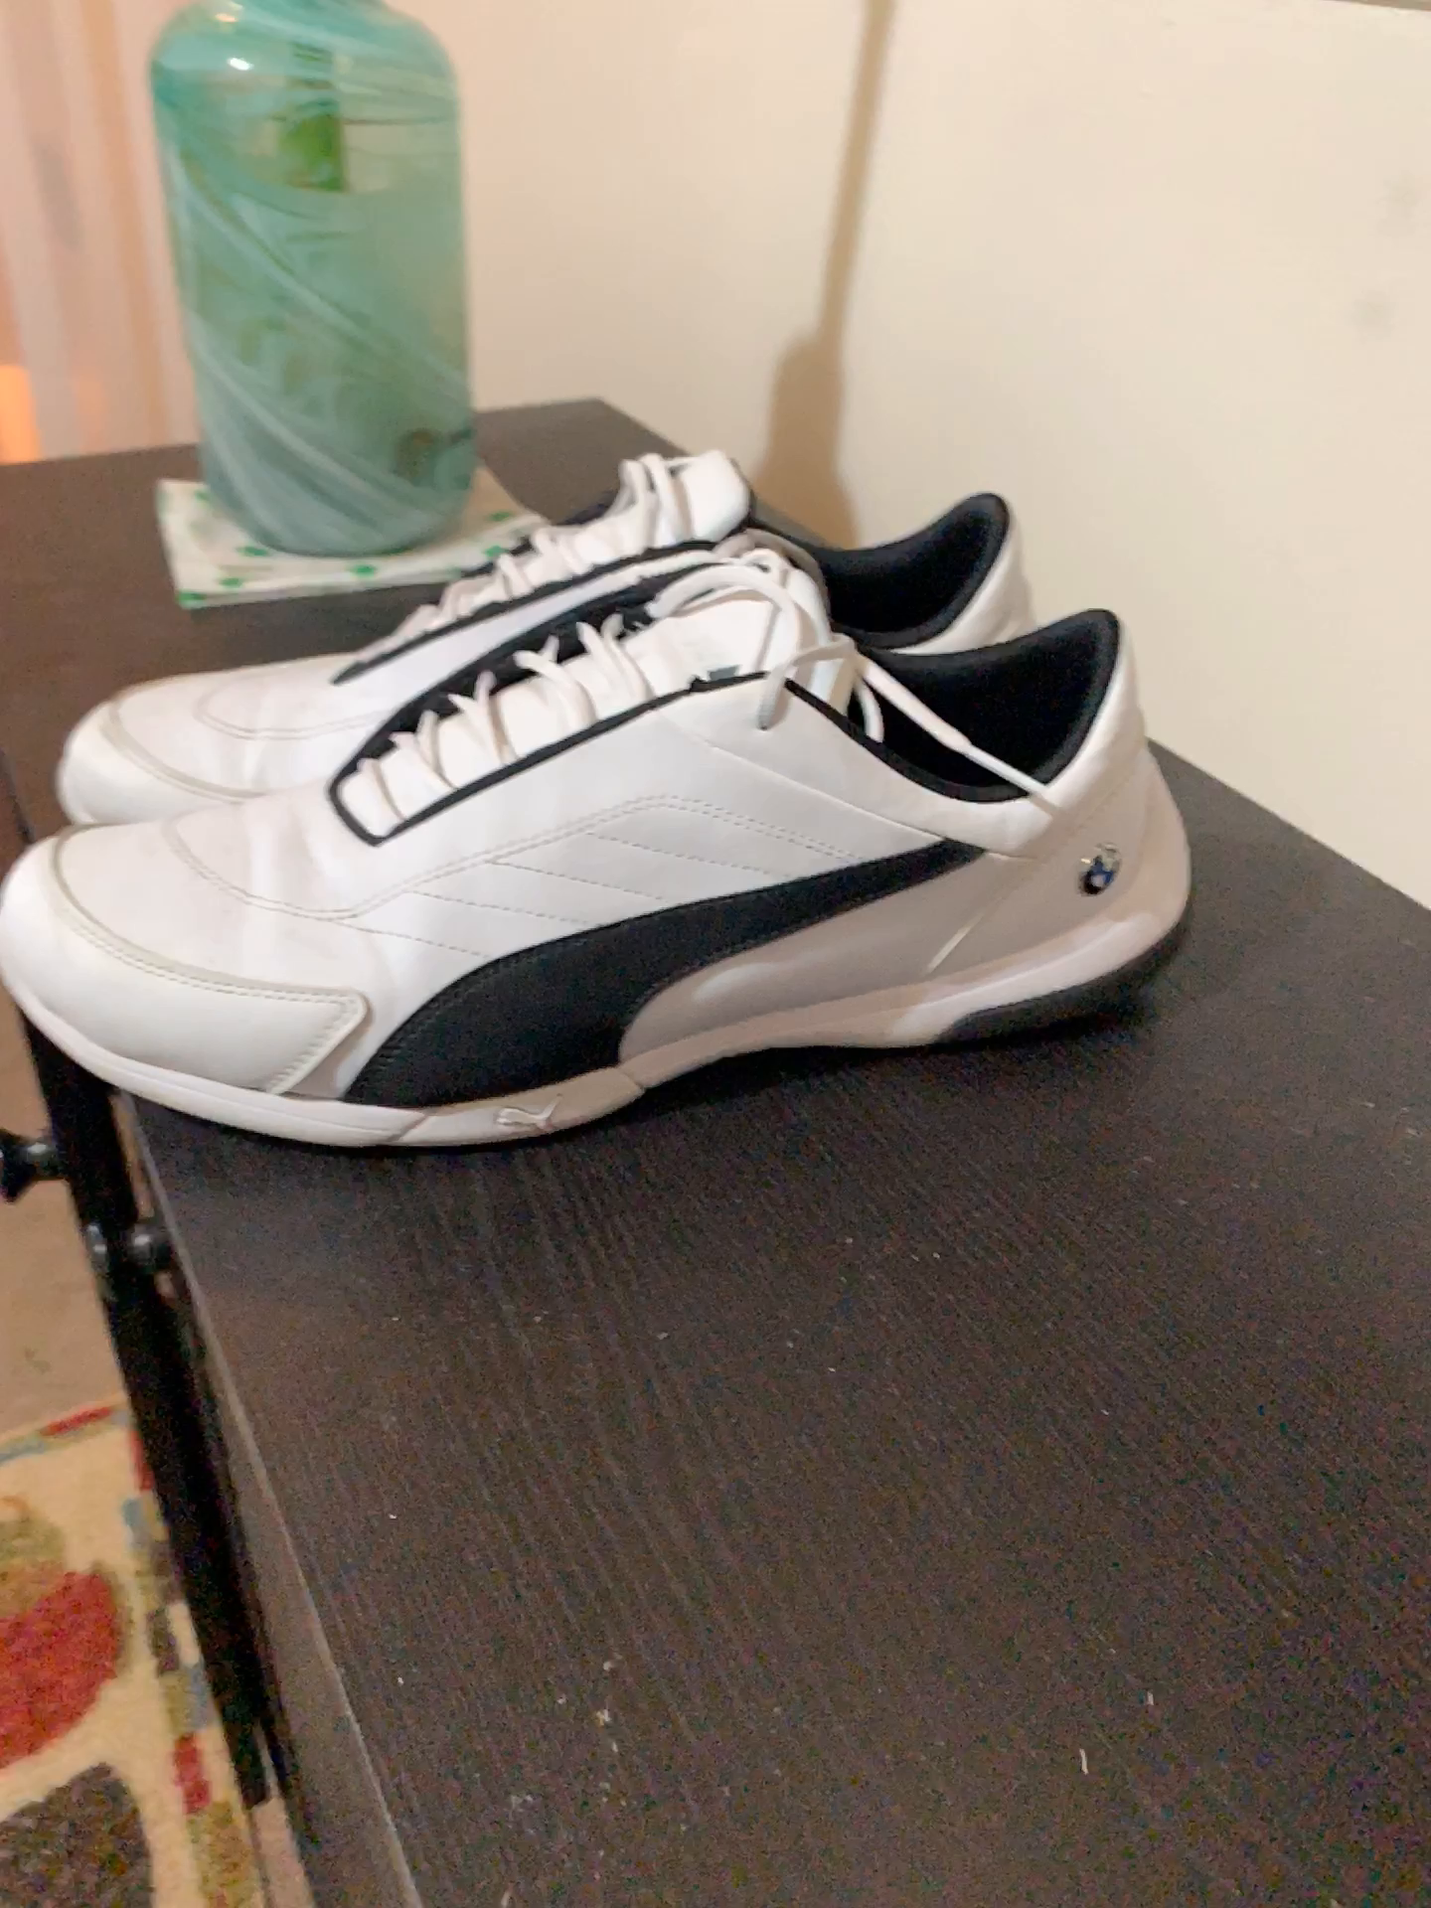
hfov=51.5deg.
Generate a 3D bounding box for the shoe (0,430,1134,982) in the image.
[{"bbox_3d":[-0.041,-0.080,0.433,0.280,0.089,0.121,-7,36,-8],"label":"shoe"}]

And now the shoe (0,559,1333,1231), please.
[{"bbox_3d":[-0.021,-0.022,0.357,0.290,0.089,0.101,-7,36,-8],"label":"shoe"}]
